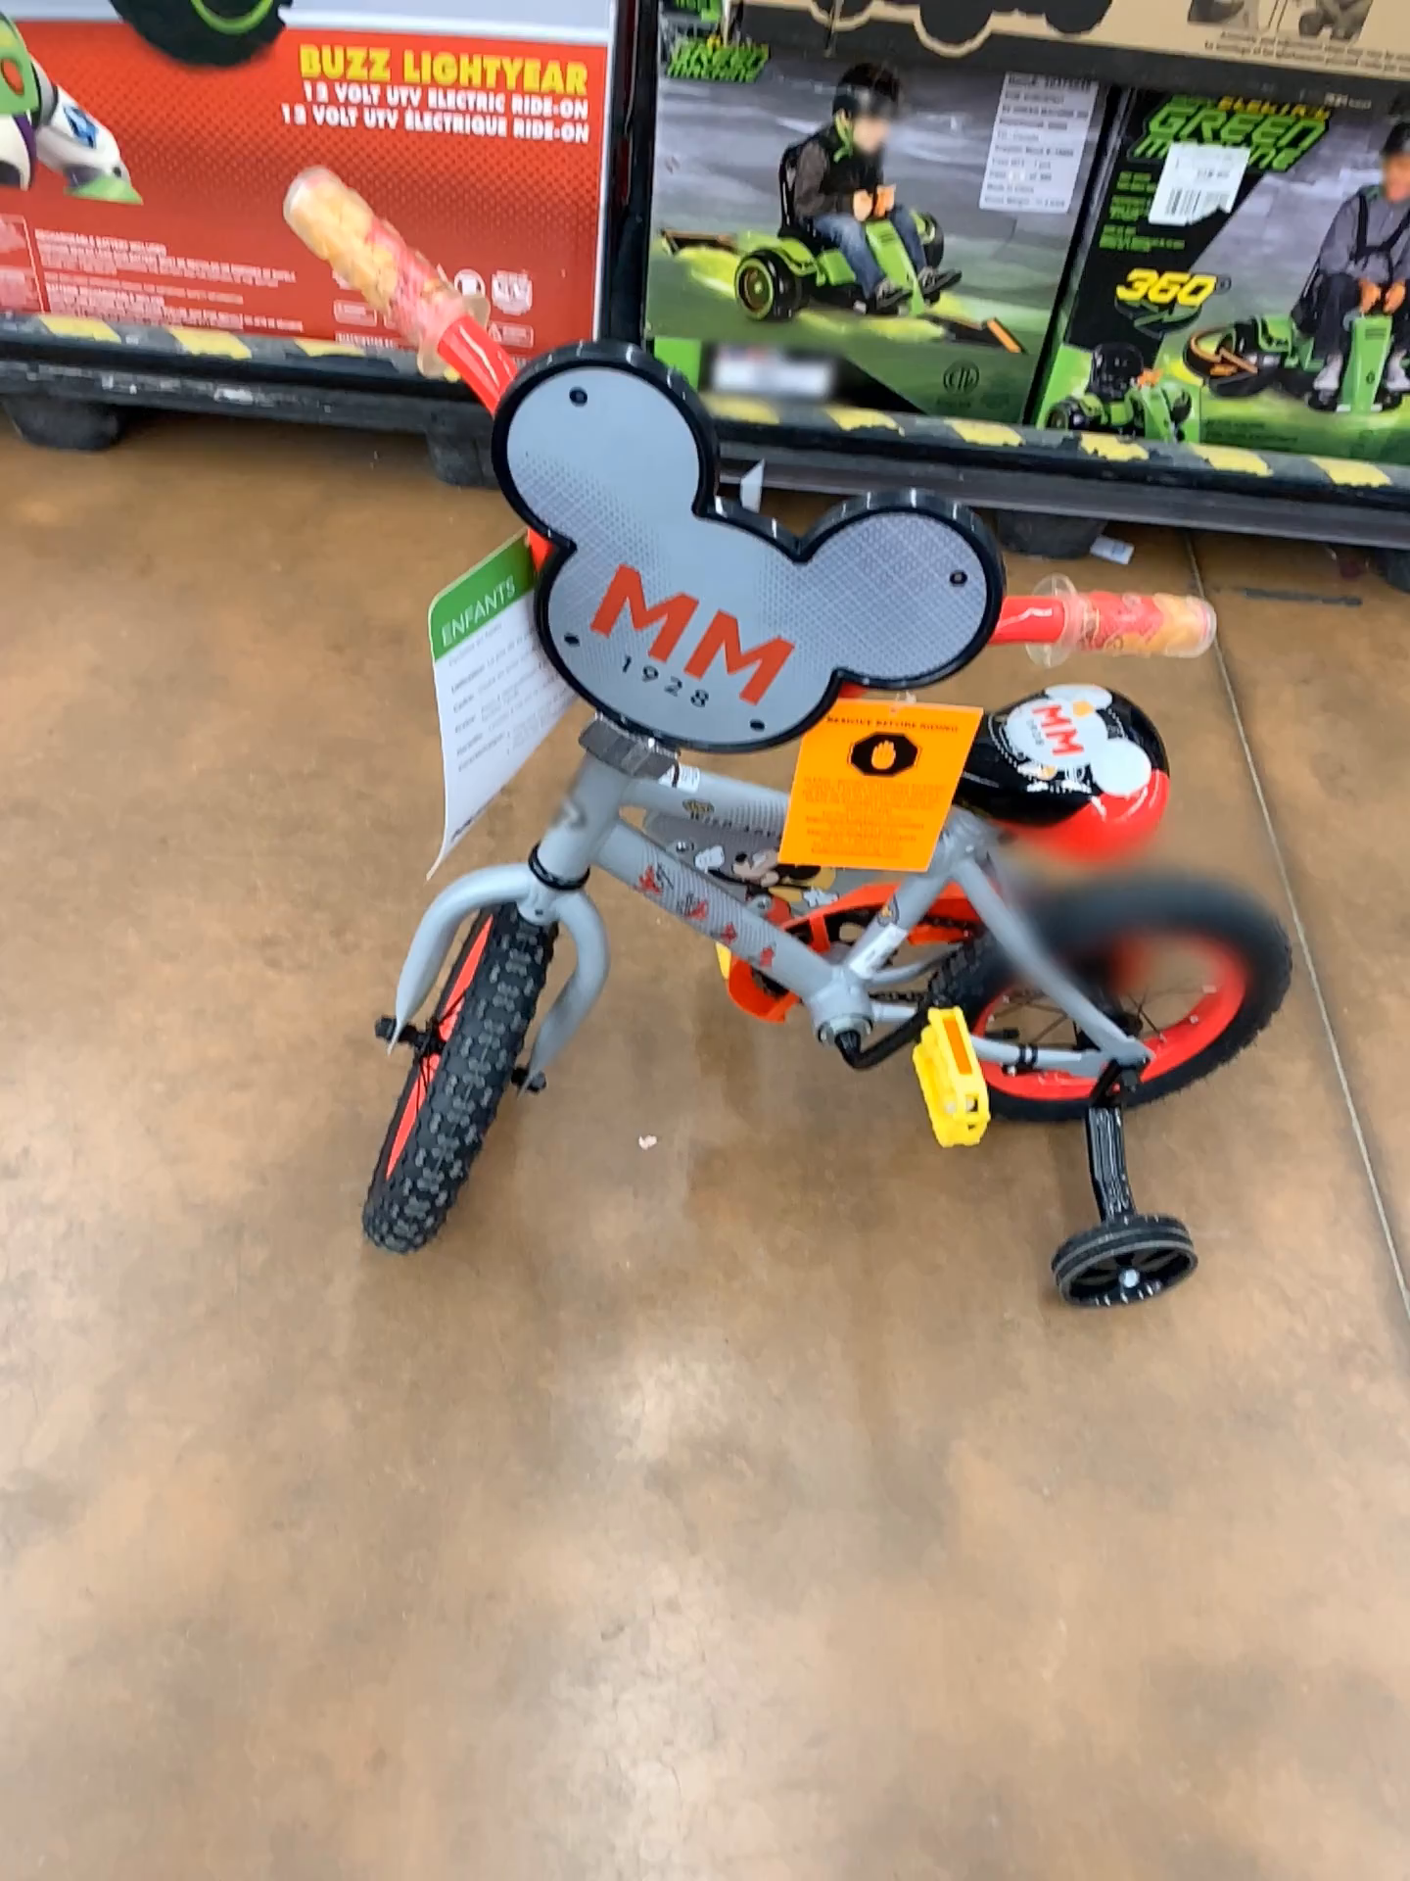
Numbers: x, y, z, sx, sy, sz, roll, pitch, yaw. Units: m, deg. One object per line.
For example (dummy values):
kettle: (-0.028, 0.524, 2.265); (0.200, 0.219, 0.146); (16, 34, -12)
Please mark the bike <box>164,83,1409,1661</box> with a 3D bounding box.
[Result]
bike: (0.105, -0.008, 0.915); (0.679, 0.741, 0.450); (-14, 52, -16)
